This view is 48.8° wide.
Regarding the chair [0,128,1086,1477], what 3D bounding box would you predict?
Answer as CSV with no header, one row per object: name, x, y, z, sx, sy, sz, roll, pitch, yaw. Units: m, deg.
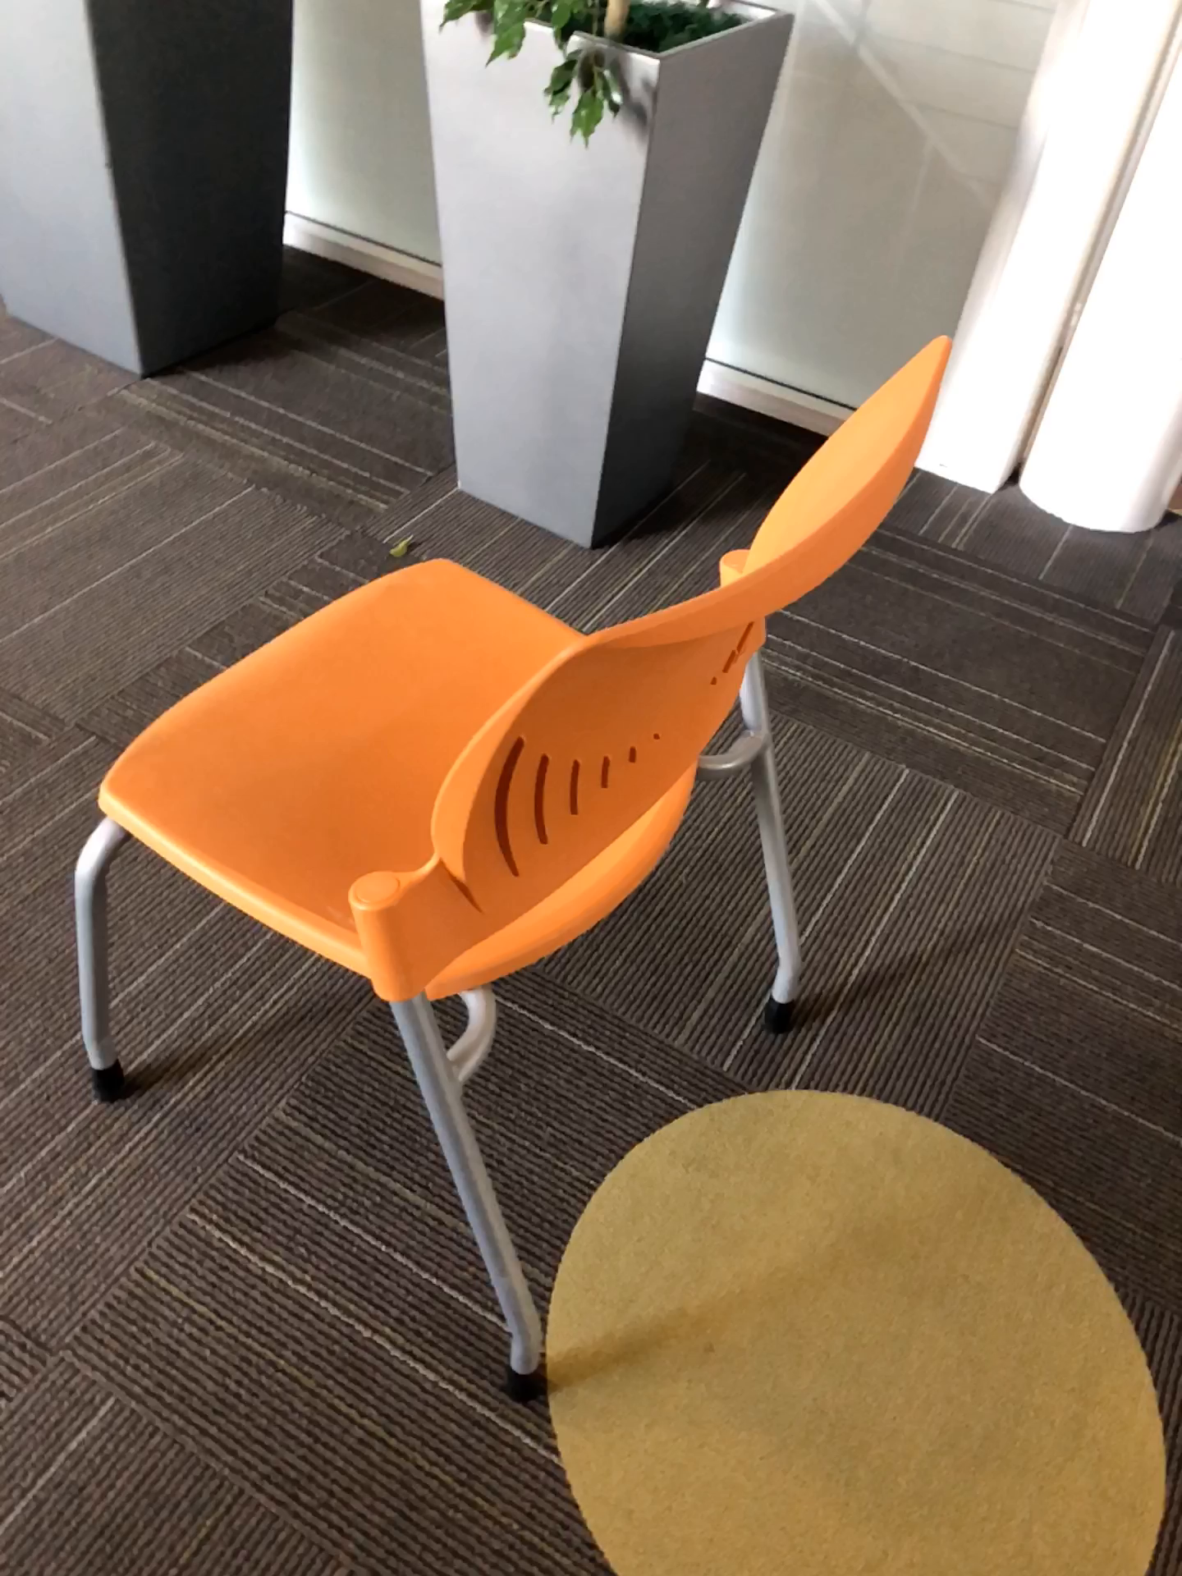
chair,-0.096,-0.019,1.112,0.611,0.747,0.642,27,46,19
